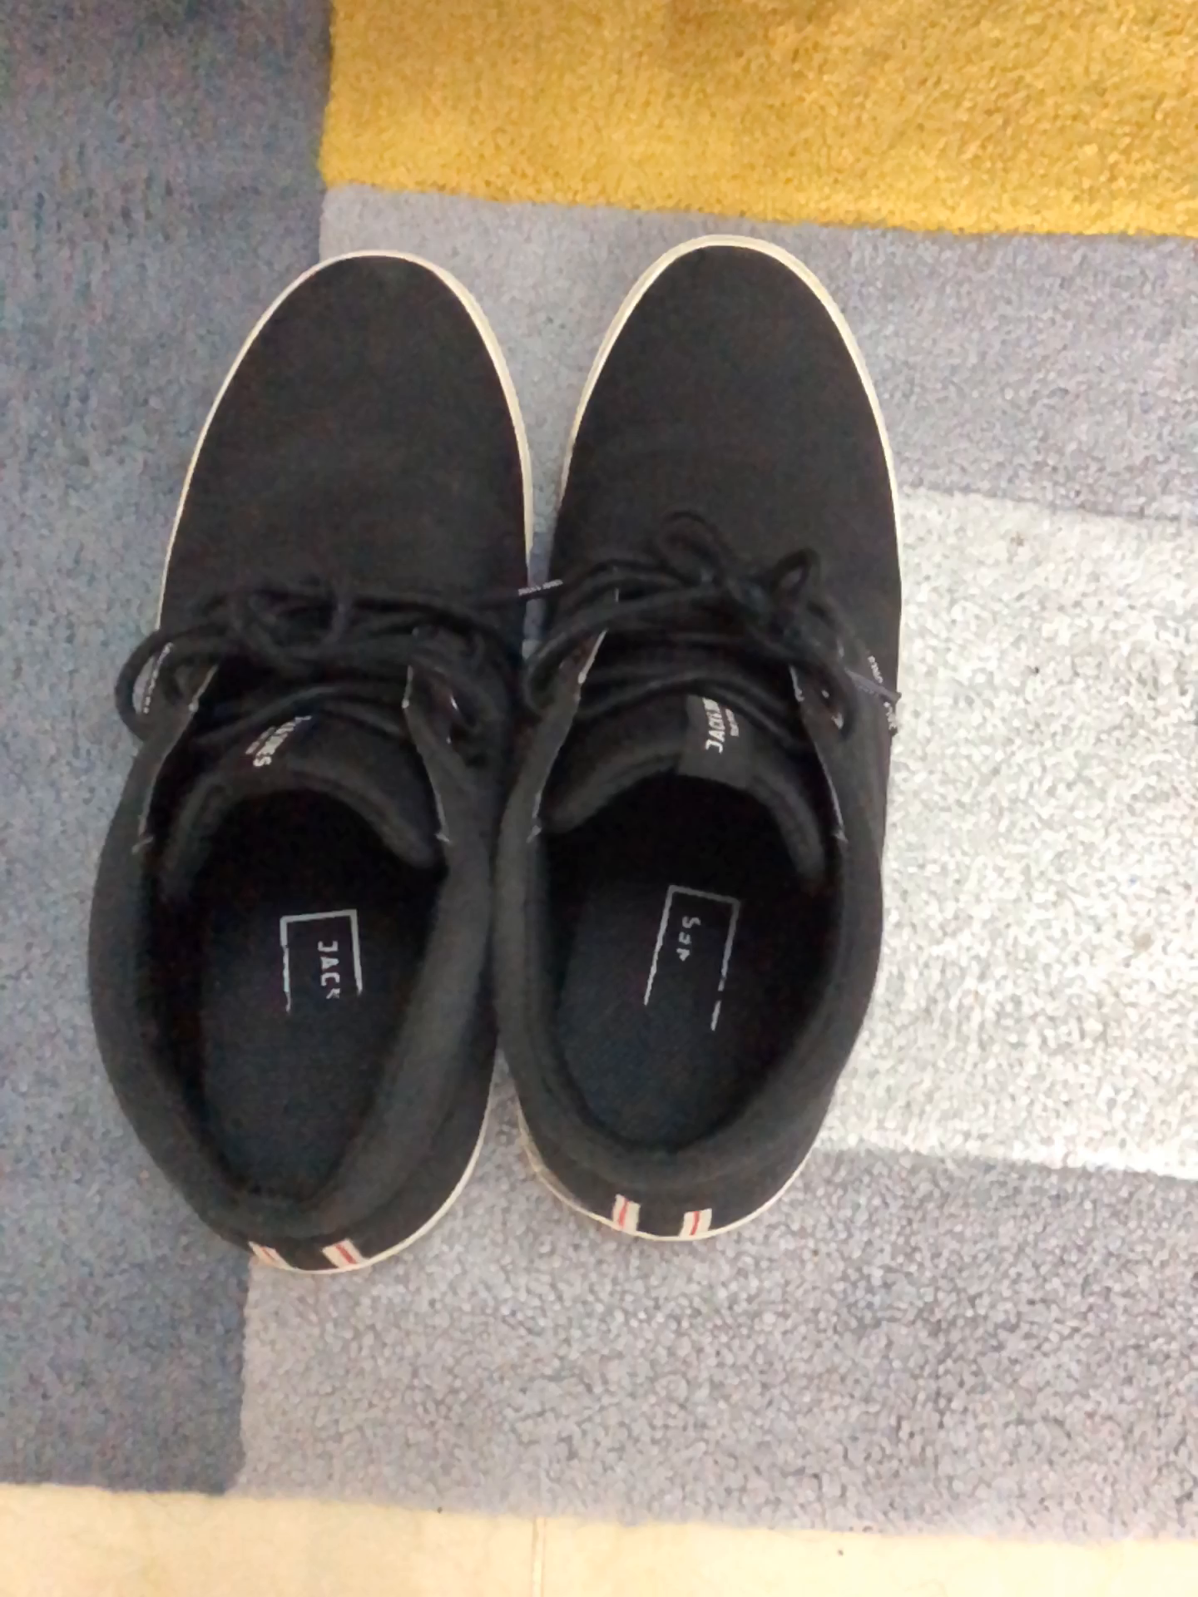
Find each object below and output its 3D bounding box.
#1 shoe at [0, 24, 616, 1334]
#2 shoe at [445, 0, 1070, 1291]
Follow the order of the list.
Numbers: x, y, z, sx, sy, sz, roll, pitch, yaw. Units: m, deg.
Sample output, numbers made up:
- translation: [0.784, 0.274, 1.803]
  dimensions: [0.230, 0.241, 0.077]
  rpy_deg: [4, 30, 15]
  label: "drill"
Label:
- translation: [-0.057, -0.029, 0.319]
  dimensions: [0.110, 0.110, 0.281]
  rpy_deg: [-1, 73, -2]
  label: "shoe"
- translation: [0.037, -0.034, 0.335]
  dimensions: [0.110, 0.130, 0.281]
  rpy_deg: [5, 73, -1]
  label: "shoe"
